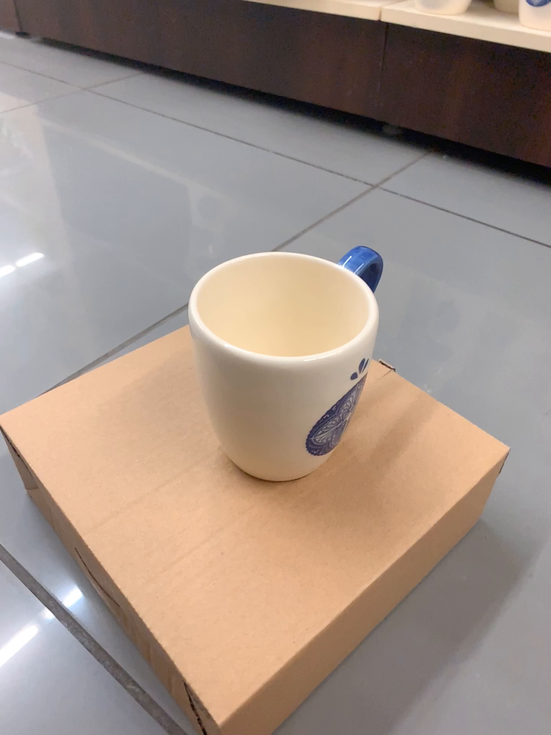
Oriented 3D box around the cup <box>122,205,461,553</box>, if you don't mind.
[{"bbox_3d":[0.013,-0.004,0.293,0.090,0.090,0.140,29,48,27],"label":"cup"}]
